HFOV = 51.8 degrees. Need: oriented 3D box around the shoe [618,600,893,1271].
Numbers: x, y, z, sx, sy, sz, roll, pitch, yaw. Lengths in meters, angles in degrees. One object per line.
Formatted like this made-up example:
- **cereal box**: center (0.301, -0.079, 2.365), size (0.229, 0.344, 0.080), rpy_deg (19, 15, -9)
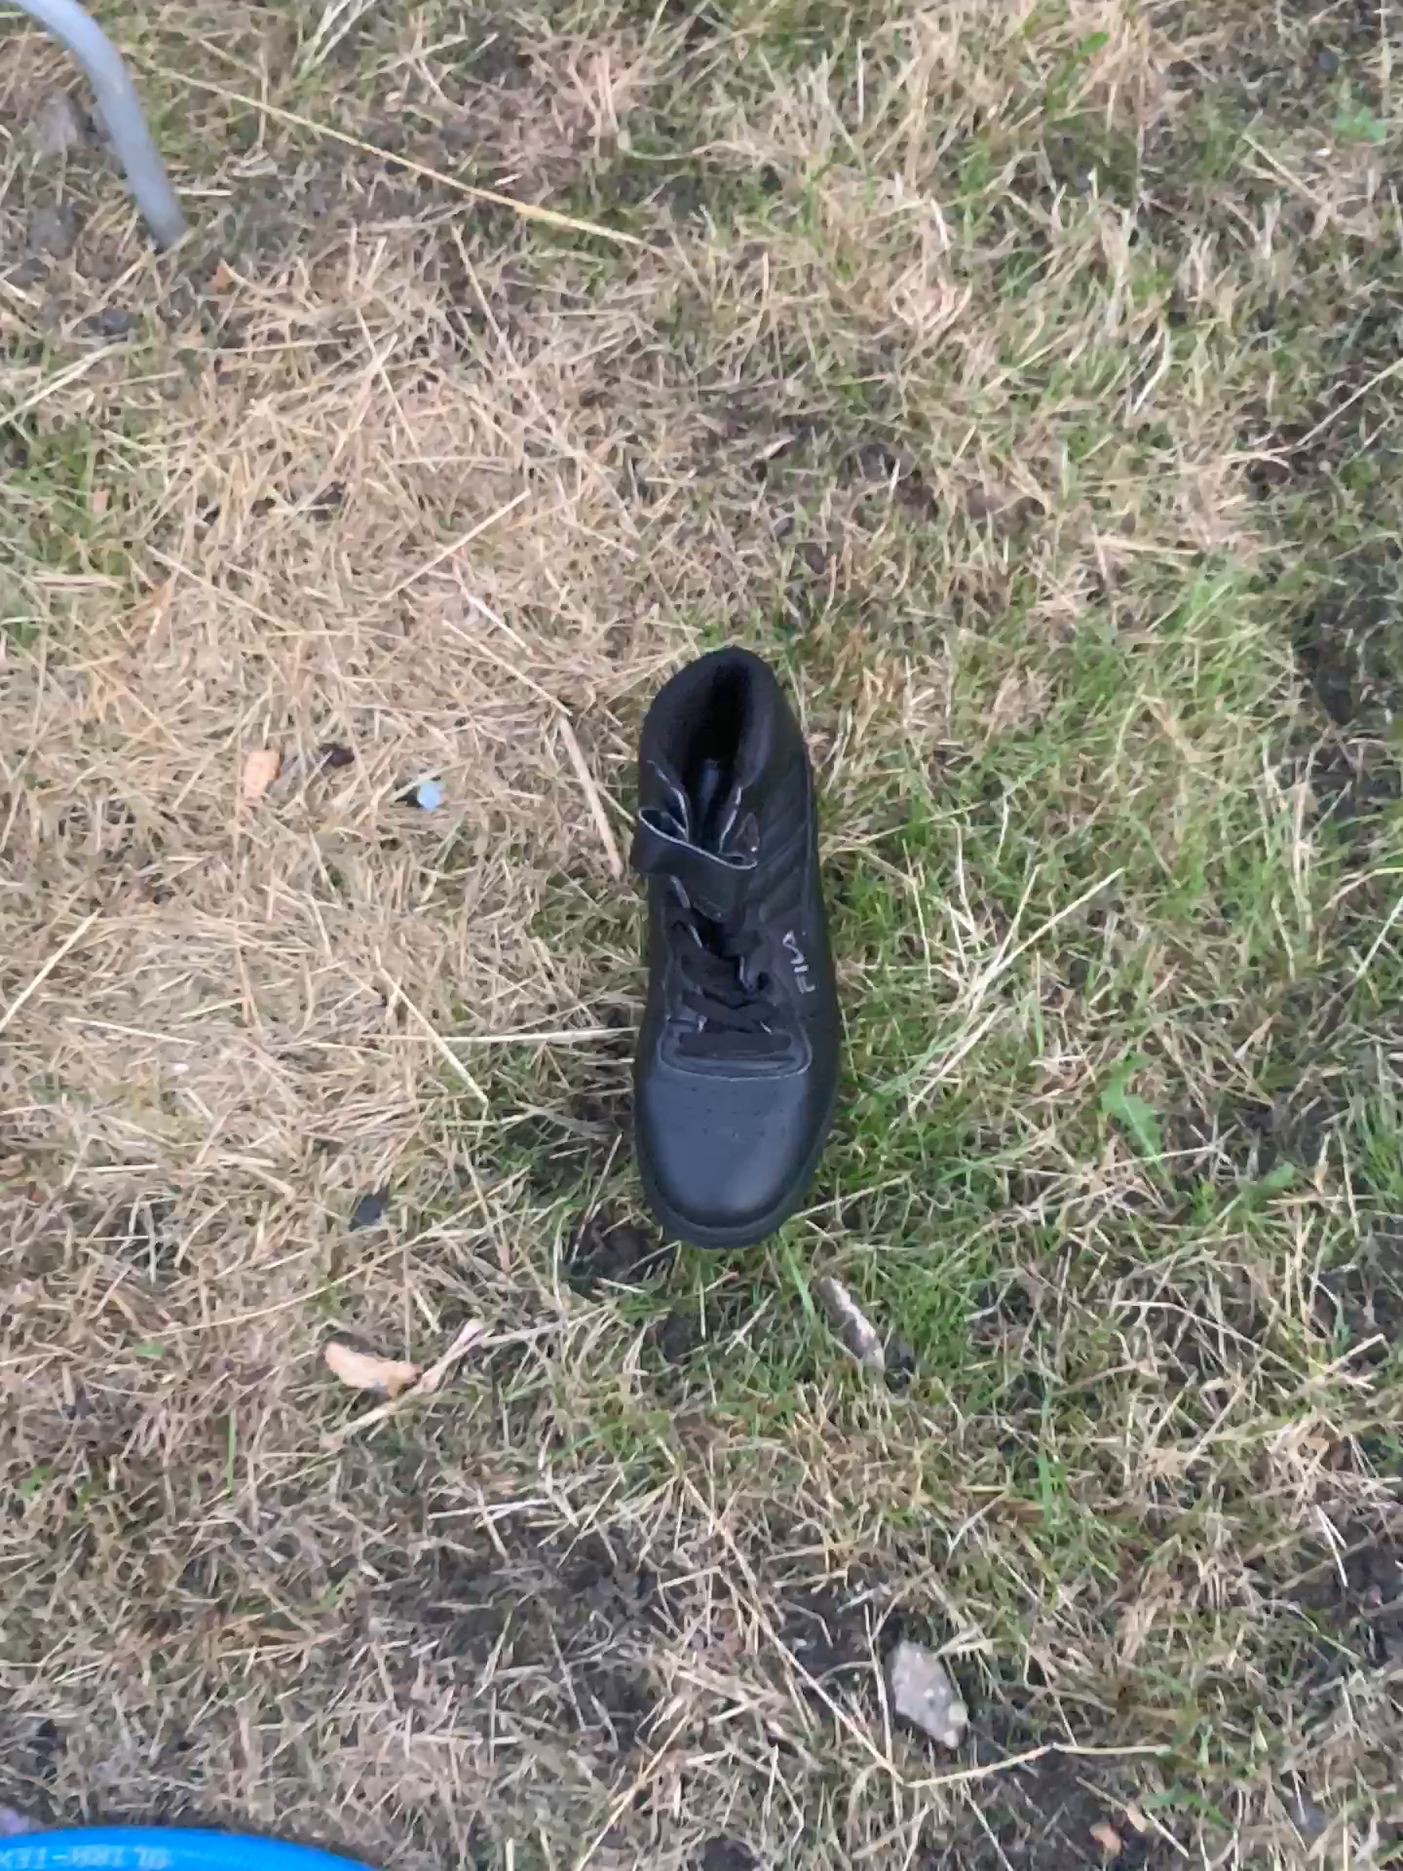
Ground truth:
- **shoe**: center (0.017, 0.006, 0.632), size (0.100, 0.140, 0.261), rpy_deg (1, 70, -3)
